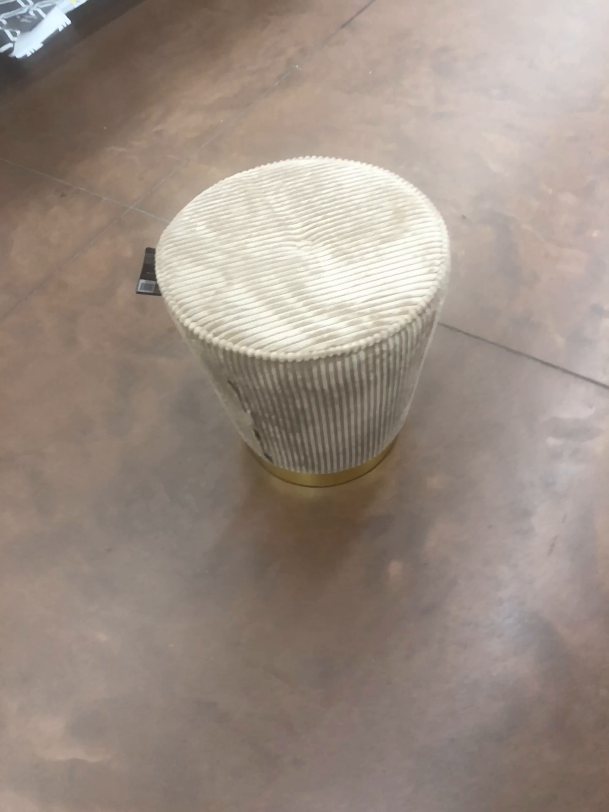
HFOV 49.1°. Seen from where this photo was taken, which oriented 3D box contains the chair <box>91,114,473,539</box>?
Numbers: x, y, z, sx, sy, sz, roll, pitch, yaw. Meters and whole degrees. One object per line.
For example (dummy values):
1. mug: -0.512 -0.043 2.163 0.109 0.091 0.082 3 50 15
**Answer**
1. chair: 0.008 -0.132 1.137 0.420 0.479 0.451 12 55 14
